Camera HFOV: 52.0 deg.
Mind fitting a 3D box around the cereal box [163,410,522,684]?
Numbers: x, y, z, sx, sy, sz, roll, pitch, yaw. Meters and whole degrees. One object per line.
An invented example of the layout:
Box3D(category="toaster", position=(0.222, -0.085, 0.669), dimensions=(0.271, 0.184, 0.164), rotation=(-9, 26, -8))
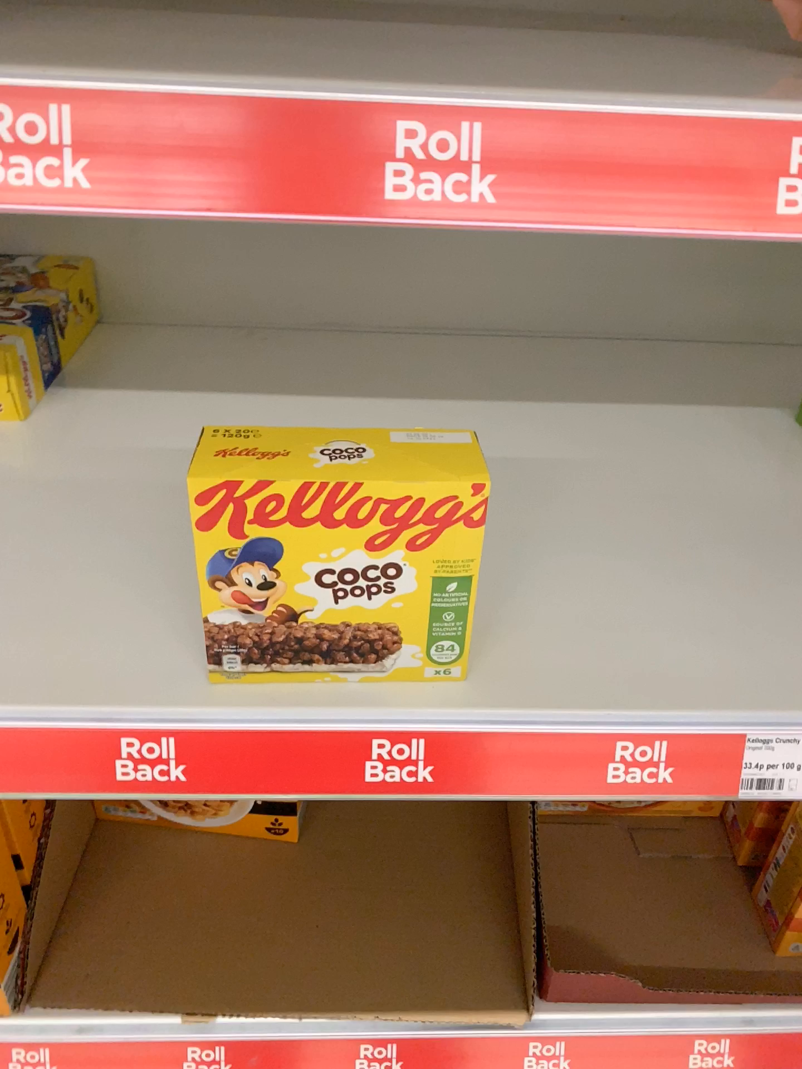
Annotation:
Box3D(category="cereal box", position=(-0.028, 0.007, 0.403), dimensions=(0.150, 0.119, 0.061), rotation=(0, 35, -4))
